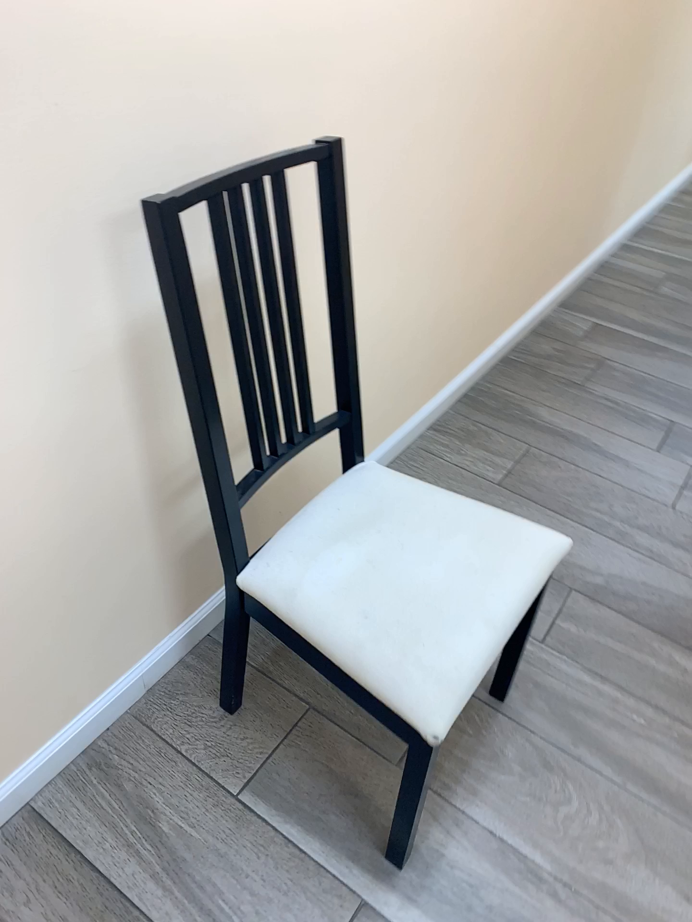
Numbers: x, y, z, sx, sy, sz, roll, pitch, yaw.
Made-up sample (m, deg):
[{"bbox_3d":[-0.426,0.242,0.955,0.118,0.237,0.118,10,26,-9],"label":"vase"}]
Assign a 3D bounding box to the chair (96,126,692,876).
[{"bbox_3d":[0.041,0.096,1.076,0.498,0.962,0.440,26,45,24],"label":"chair"}]
